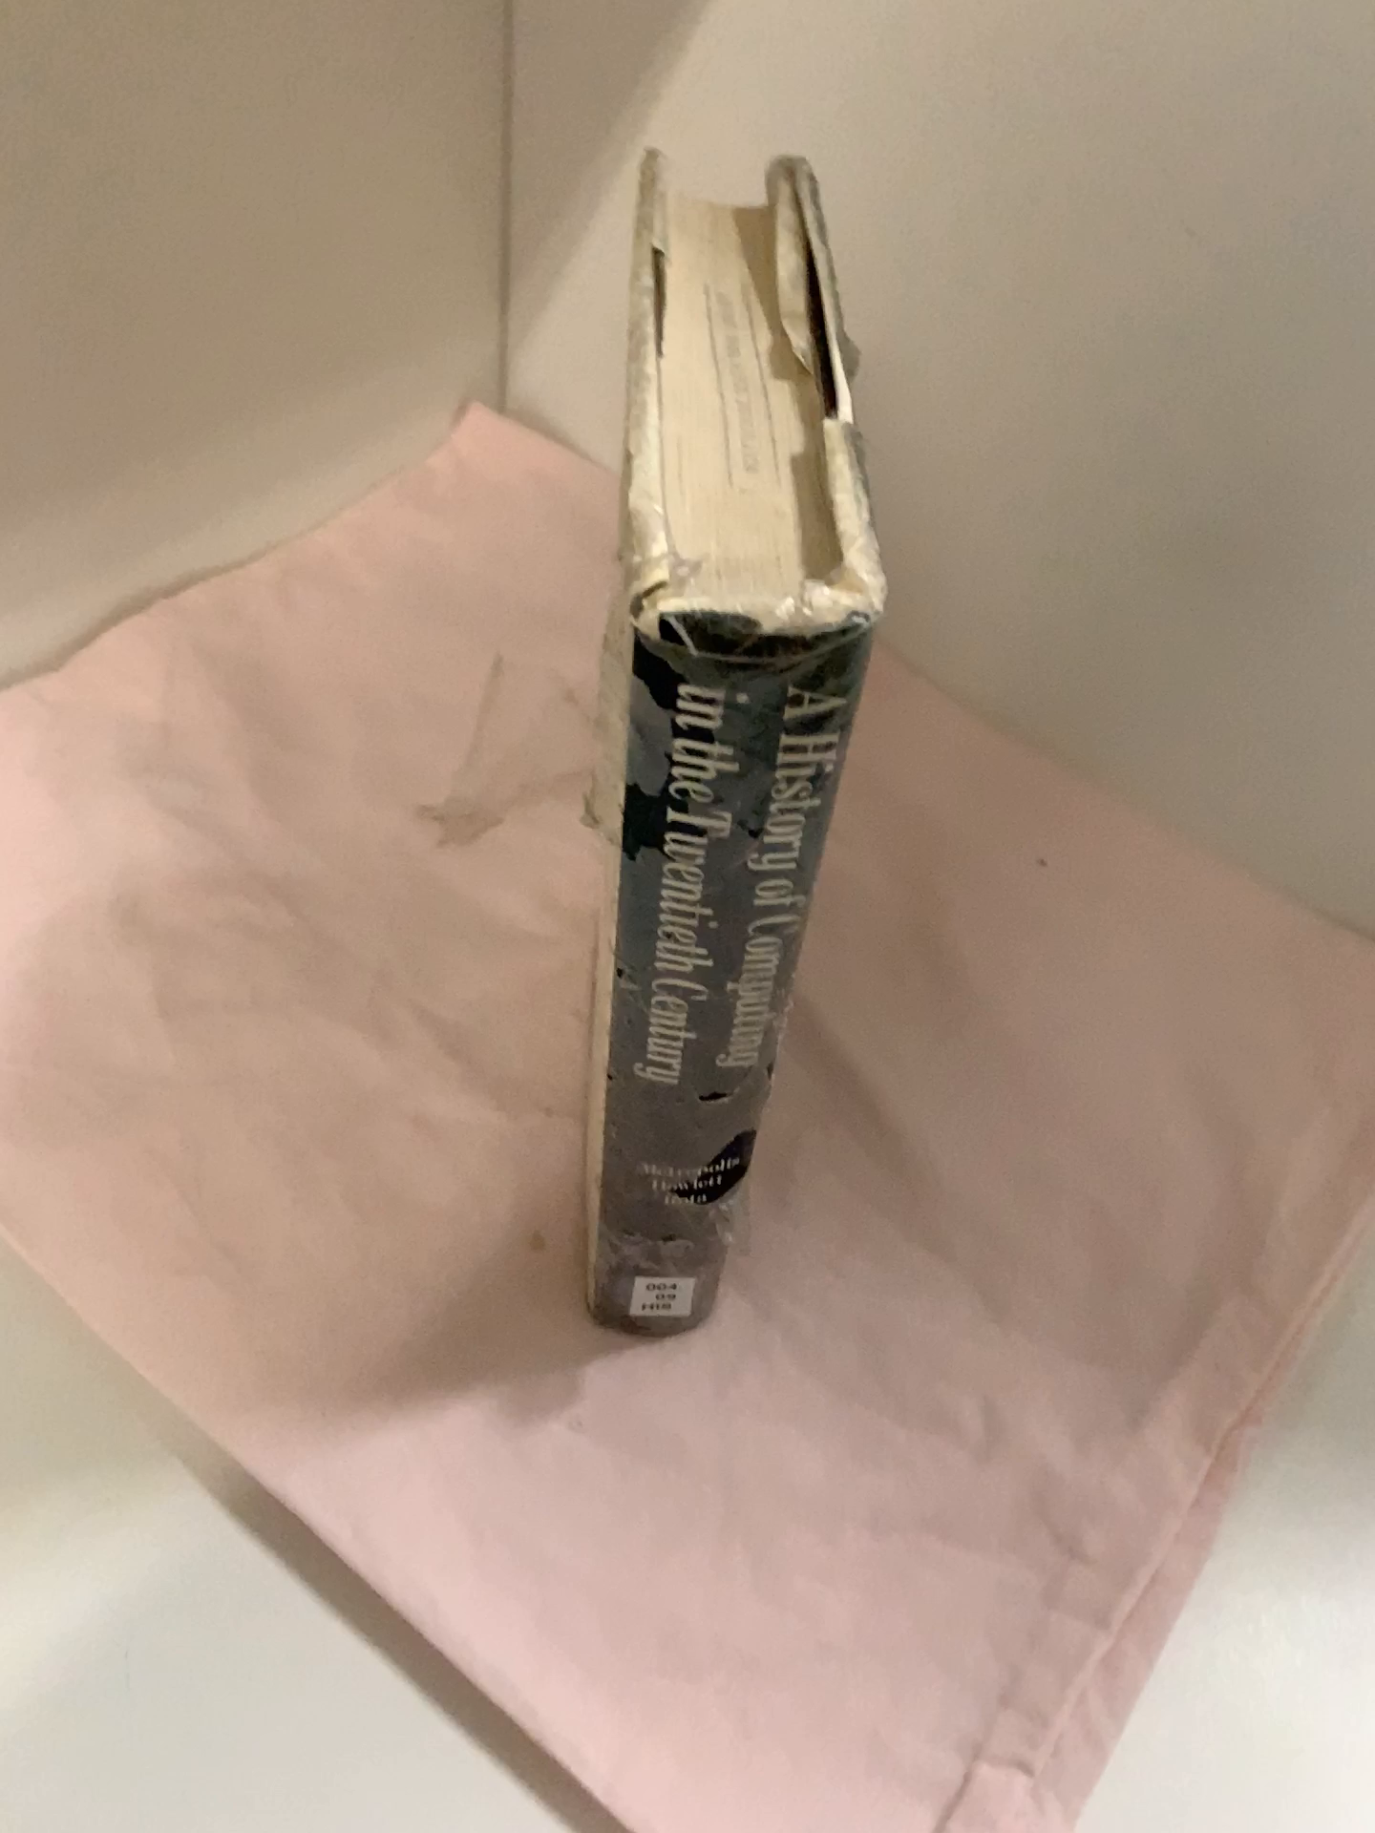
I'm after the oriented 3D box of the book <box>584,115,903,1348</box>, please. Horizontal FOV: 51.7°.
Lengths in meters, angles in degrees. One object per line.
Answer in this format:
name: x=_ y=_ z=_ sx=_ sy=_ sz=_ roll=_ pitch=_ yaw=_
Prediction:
book: x=0.000 y=-0.028 z=0.346 sx=0.042 sy=0.247 sz=0.168 roll=2 pitch=49 yaw=-3
